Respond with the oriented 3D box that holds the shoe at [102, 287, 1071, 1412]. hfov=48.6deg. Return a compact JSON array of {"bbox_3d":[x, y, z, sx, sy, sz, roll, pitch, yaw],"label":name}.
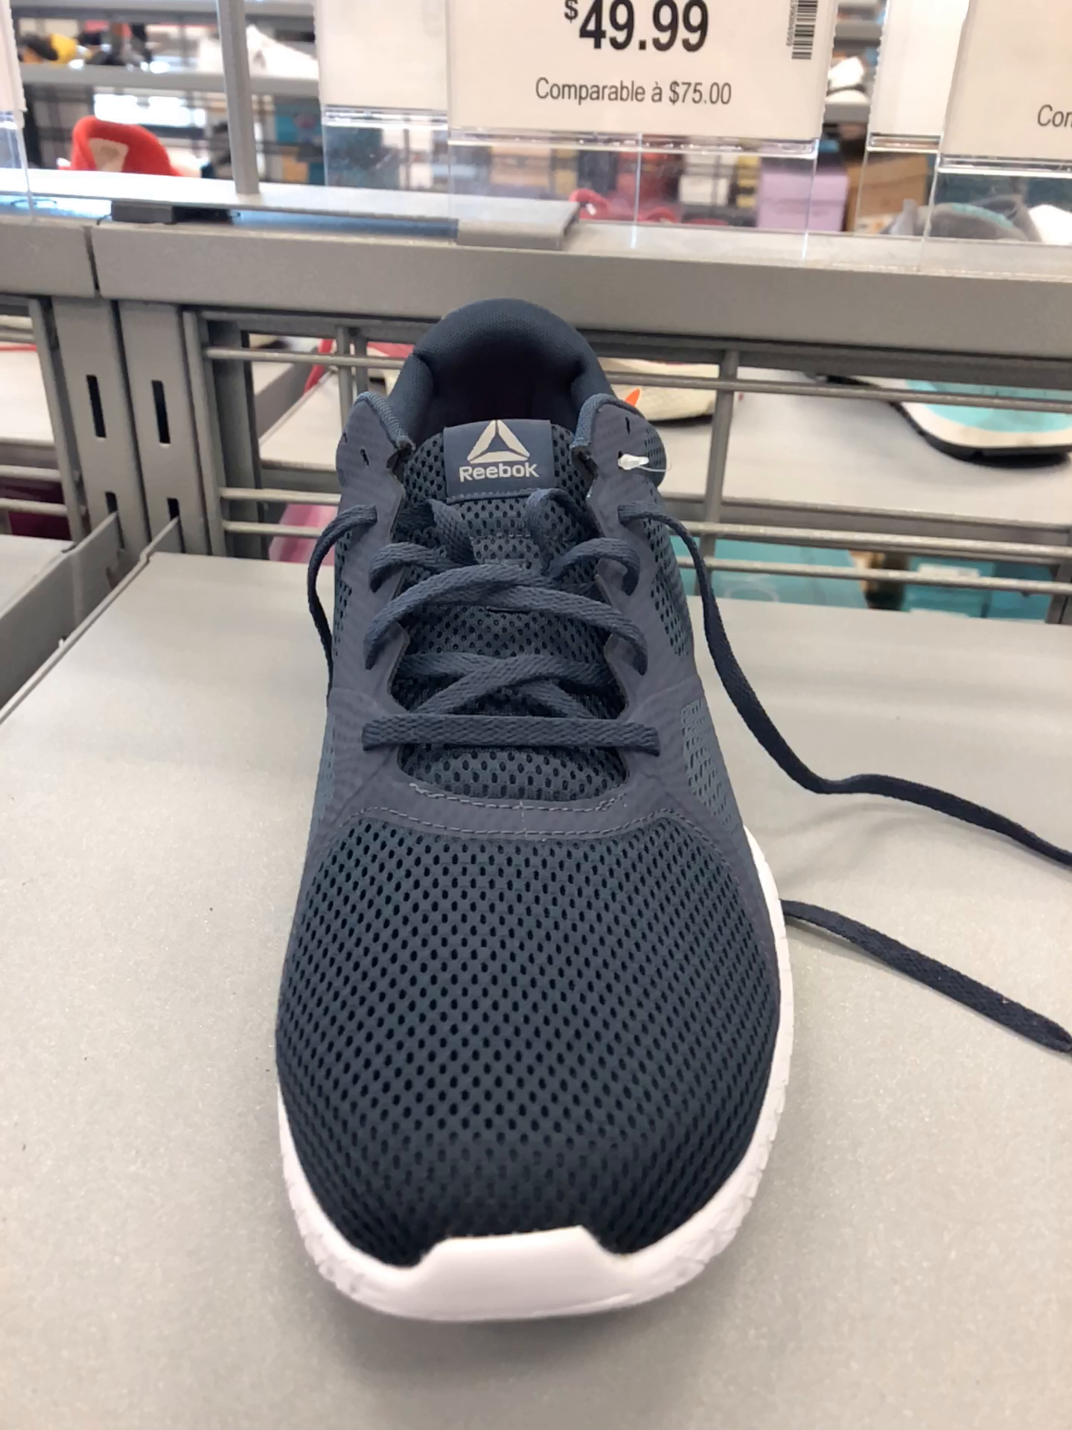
[{"bbox_3d":[0.004,-0.016,0.307,0.120,0.109,0.323,1,32,-2],"label":"shoe"}]
